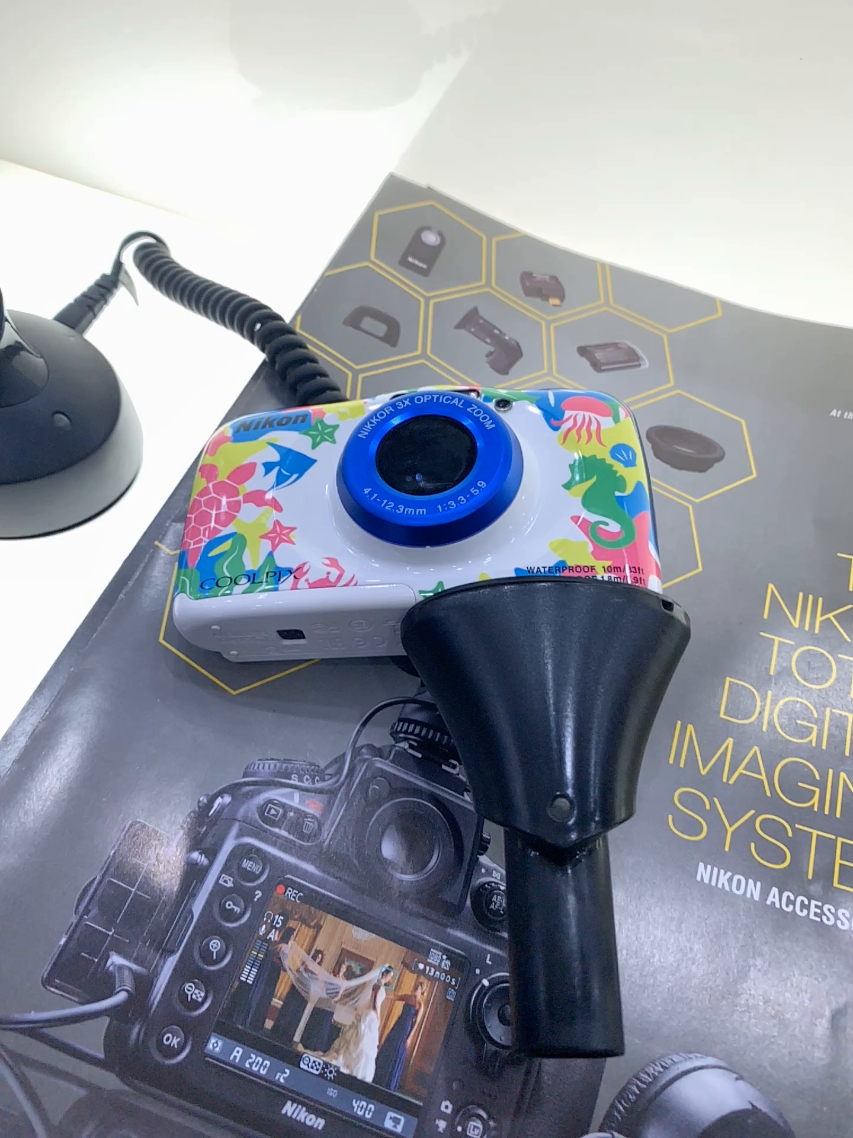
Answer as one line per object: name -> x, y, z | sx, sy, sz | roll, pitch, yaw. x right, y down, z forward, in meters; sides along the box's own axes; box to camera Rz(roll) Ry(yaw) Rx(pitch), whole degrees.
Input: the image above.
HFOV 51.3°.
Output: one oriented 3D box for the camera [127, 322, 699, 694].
camera -> -0.002, -0.016, 0.206 | 0.110, 0.030, 0.080 | -3, 53, 5
